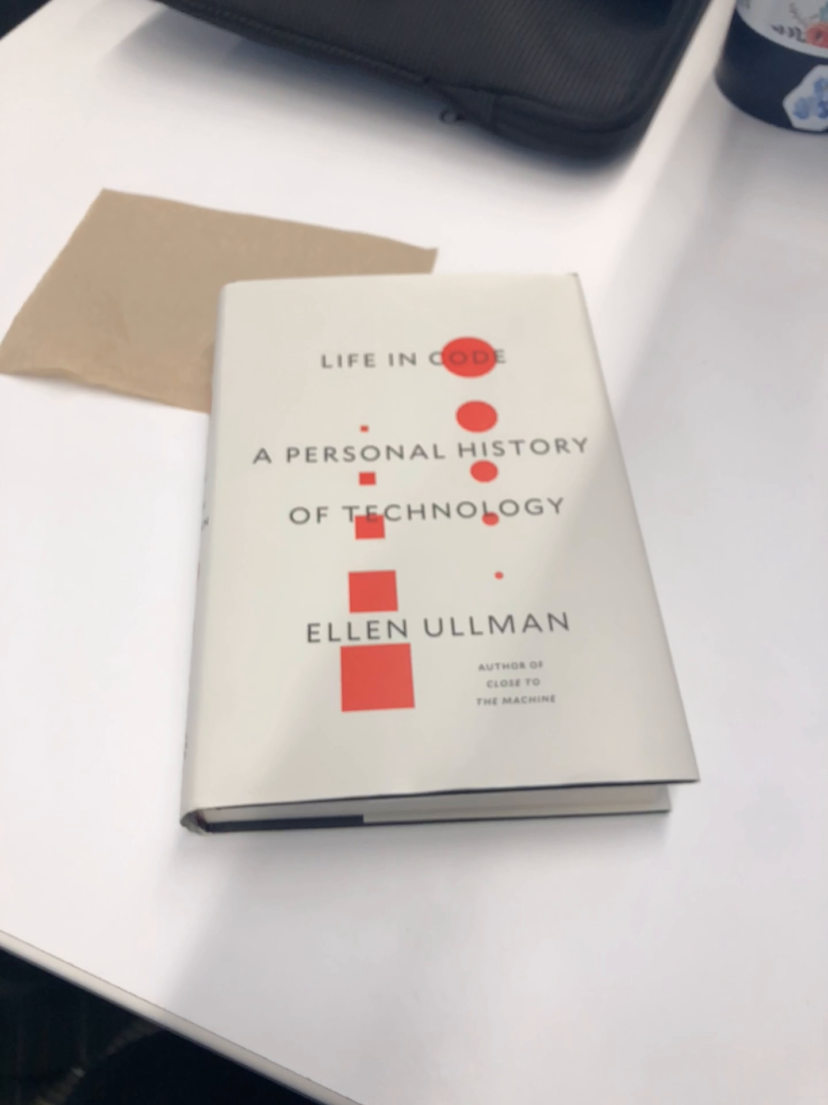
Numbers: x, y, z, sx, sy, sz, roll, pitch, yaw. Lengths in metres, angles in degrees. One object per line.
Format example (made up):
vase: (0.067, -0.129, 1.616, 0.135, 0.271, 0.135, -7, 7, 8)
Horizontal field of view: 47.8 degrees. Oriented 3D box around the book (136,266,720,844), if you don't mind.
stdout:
book: (-0.001, -0.016, 0.329, 0.160, 0.030, 0.221, -2, 56, -3)
